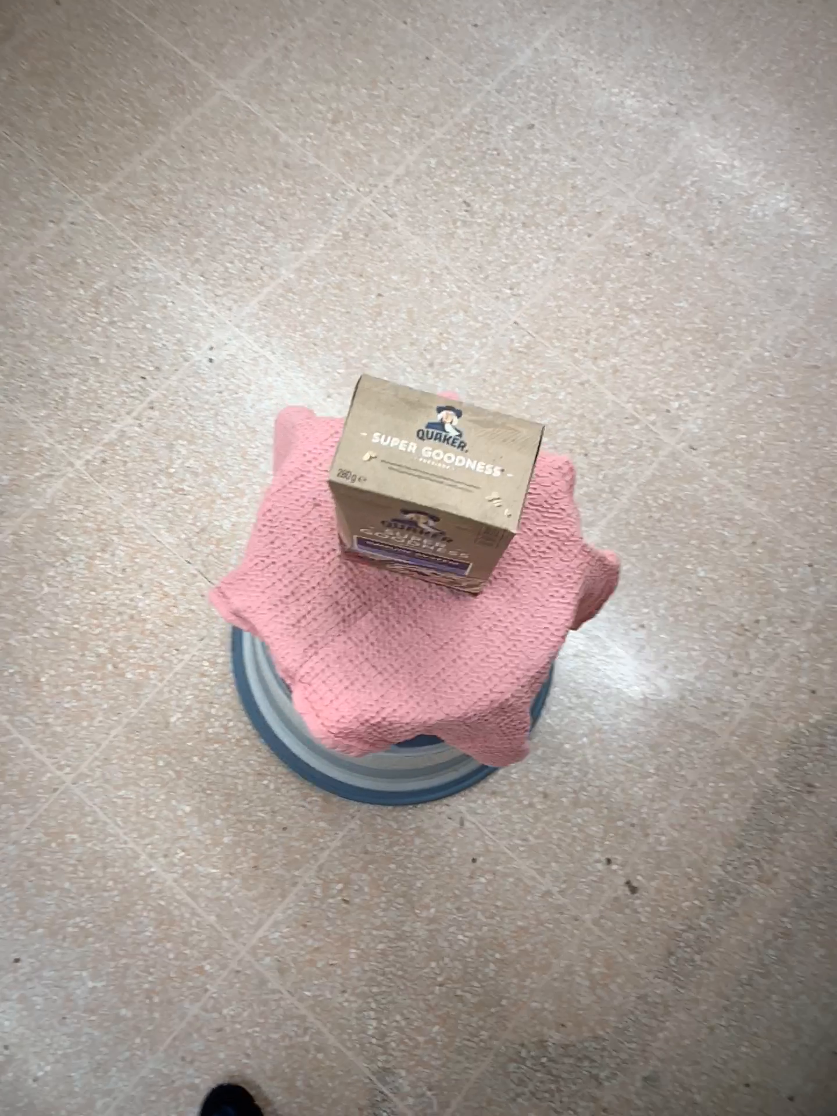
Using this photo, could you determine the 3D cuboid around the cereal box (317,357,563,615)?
[{"bbox_3d":[0.010,-0.042,0.657,0.140,0.209,0.100,16,75,1],"label":"cereal box"}]
